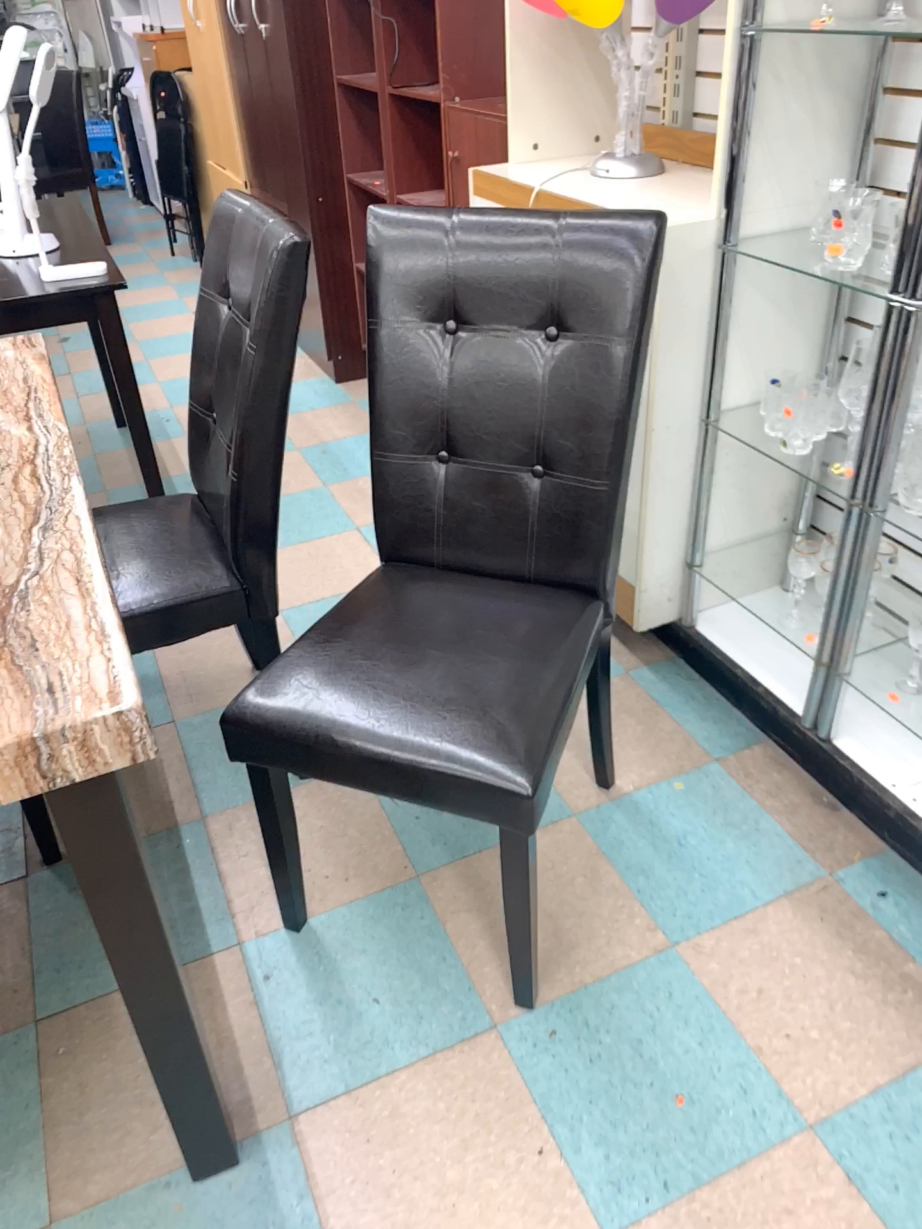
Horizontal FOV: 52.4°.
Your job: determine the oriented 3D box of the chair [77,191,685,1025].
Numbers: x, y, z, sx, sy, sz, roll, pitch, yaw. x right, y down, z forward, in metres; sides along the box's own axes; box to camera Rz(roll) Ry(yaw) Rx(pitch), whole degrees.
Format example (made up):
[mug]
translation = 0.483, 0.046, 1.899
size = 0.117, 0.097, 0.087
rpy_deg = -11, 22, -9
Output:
[chair]
translation = -0.026, -0.023, 1.315
size = 0.484, 0.949, 0.557
rpy_deg = 11, 37, 20
